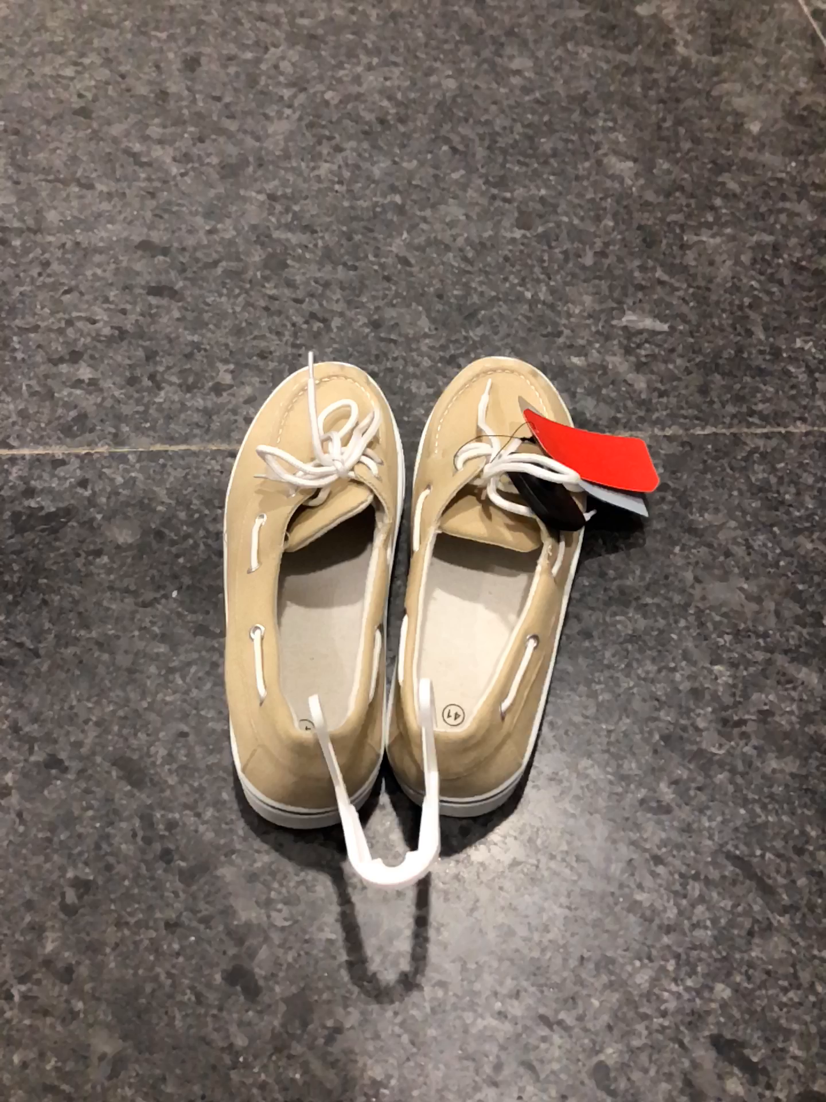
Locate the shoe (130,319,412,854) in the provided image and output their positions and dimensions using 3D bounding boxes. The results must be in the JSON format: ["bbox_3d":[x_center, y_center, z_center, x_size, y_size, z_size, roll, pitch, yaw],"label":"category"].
[{"bbox_3d":[-0.053,0.010,0.446,0.103,0.106,0.243,0,55,-1],"label":"shoe"}]

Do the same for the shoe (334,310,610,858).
[{"bbox_3d":[0.036,0.008,0.452,0.096,0.106,0.243,8,56,4],"label":"shoe"}]
